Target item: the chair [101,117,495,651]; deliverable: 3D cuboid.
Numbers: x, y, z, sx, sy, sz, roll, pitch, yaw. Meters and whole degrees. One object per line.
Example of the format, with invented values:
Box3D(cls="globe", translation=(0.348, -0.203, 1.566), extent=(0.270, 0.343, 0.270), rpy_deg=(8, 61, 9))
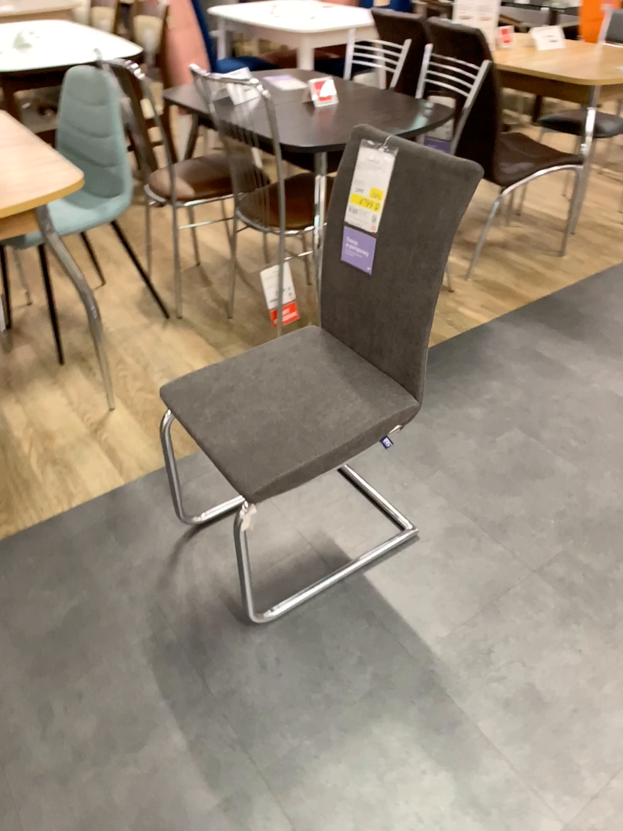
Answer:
Box3D(cls="chair", translation=(-0.023, -0.054, 1.422), extent=(0.540, 0.974, 0.437), rpy_deg=(-24, 43, -26))
